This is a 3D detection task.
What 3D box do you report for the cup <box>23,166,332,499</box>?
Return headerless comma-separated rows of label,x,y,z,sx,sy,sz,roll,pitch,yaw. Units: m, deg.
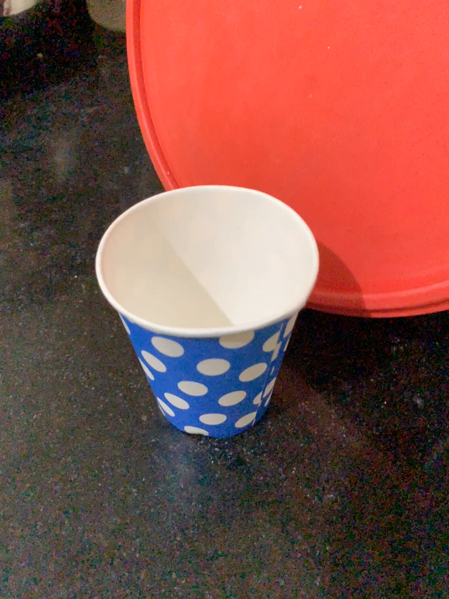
cup,-0.011,0.011,0.174,0.070,0.079,0.070,0,47,0
